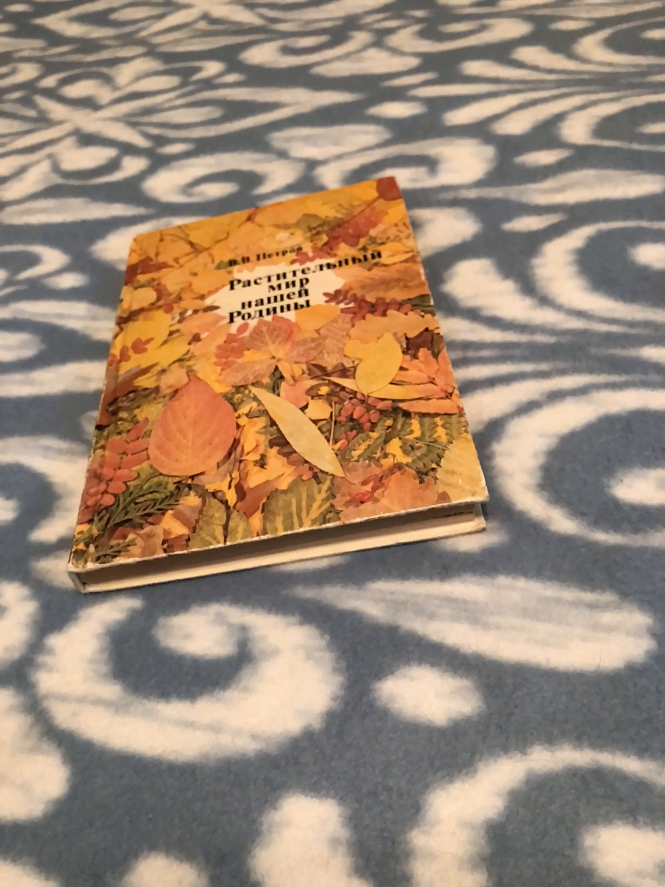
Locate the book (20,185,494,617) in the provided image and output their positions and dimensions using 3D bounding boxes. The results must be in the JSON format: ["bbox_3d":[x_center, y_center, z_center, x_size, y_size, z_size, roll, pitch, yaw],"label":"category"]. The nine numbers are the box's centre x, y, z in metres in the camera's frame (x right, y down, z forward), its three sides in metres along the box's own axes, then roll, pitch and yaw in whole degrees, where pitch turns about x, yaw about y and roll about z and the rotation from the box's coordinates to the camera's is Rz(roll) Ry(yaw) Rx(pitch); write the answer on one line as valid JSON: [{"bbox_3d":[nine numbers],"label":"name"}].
[{"bbox_3d":[-0.033,-0.036,0.318,0.157,0.020,0.209,-10,47,4],"label":"book"}]
